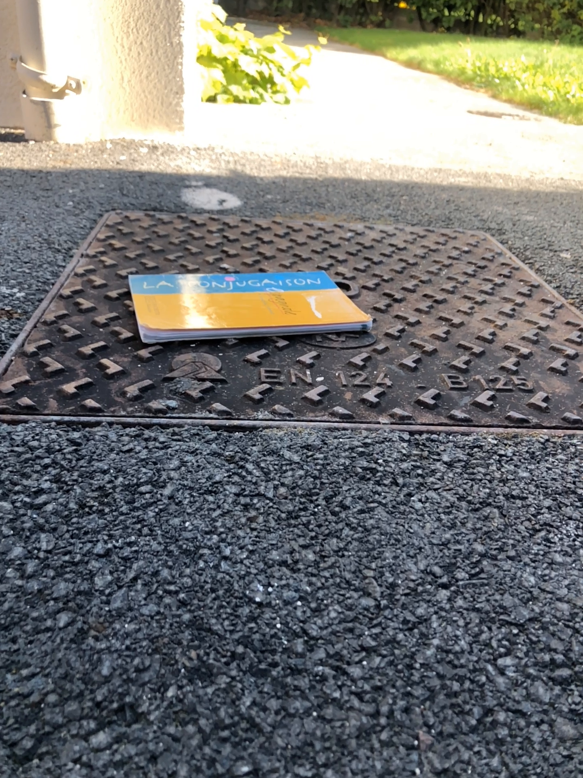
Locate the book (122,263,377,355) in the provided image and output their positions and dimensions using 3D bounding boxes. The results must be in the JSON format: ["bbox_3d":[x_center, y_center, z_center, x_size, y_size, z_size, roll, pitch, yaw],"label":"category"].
[{"bbox_3d":[-0.042,-0.074,0.546,0.188,0.017,0.141,-5,31,-17],"label":"book"}]
